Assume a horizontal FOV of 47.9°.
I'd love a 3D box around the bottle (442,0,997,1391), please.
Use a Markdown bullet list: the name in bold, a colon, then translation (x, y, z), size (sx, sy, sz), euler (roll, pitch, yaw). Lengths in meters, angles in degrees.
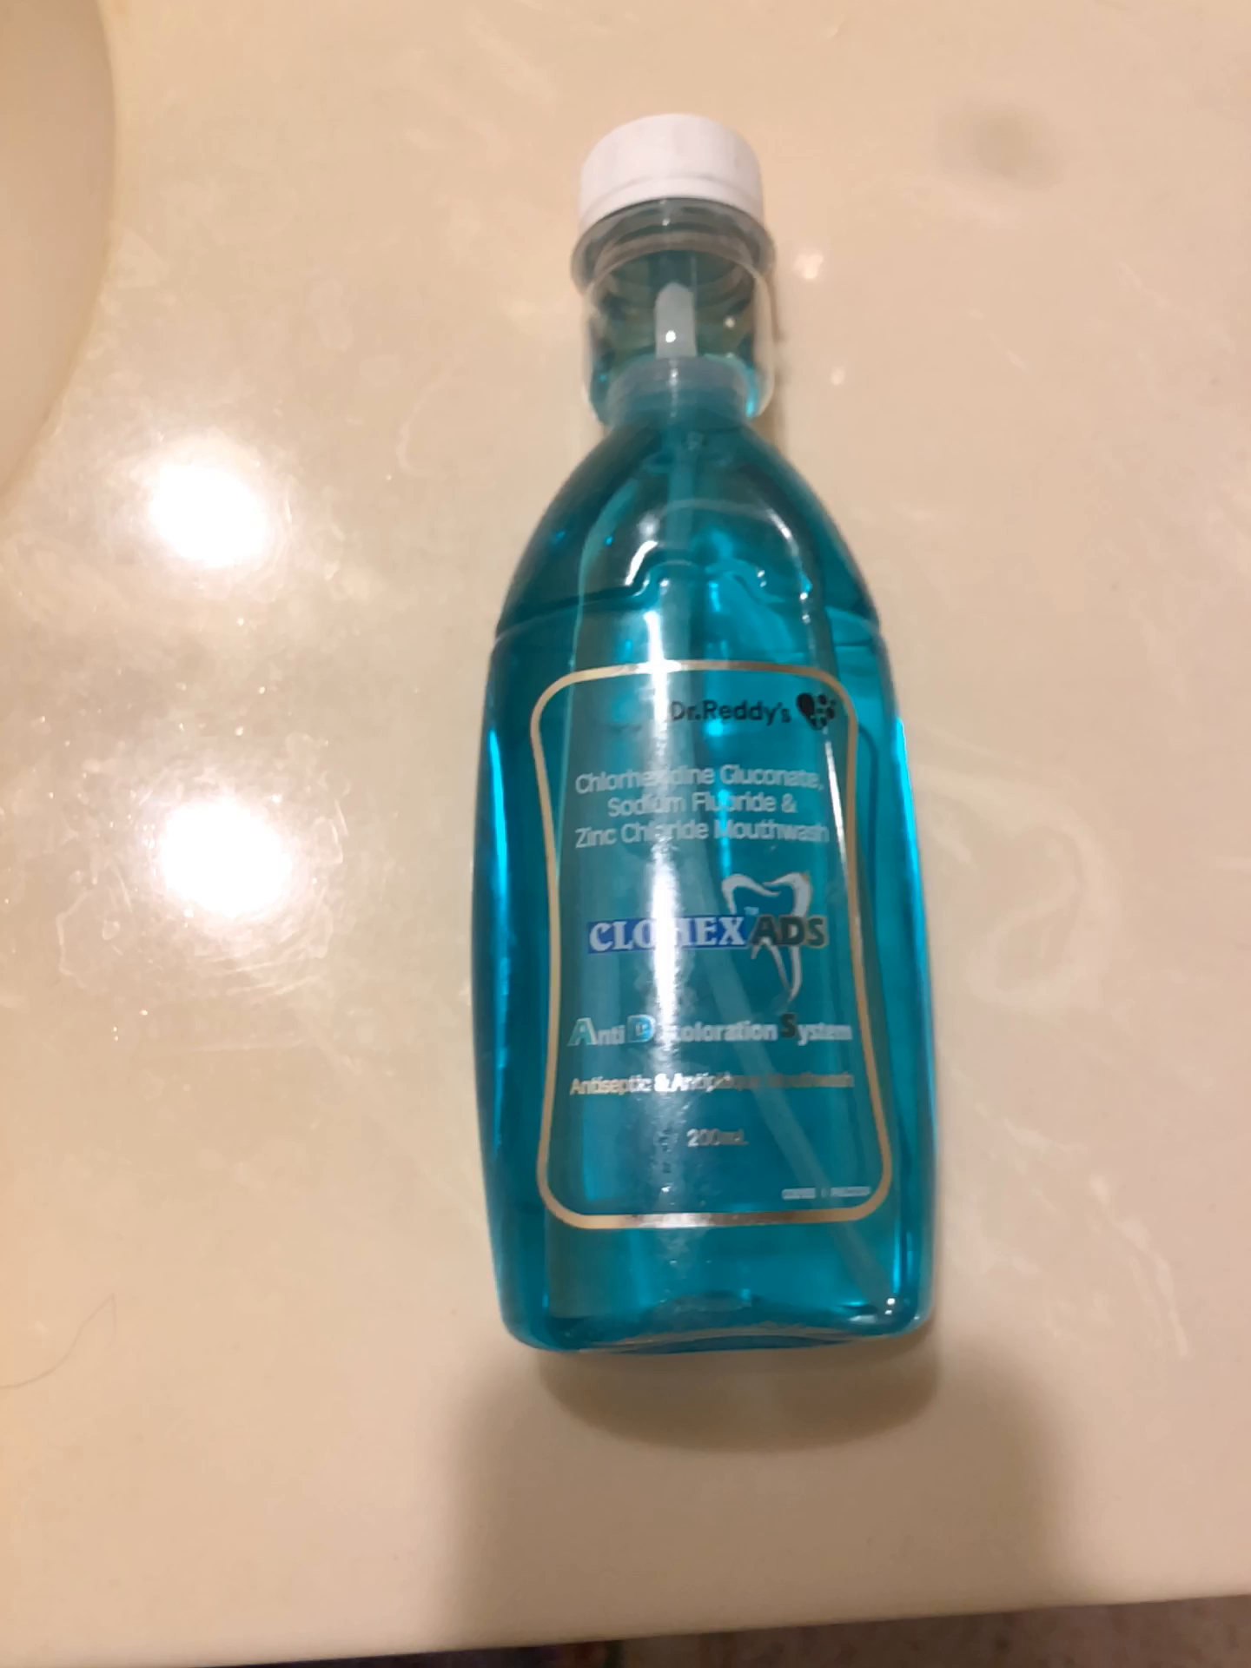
- **bottle**: translation (0.008, -0.030, 0.218), size (0.070, 0.040, 0.210), euler (-1, 78, -4)
